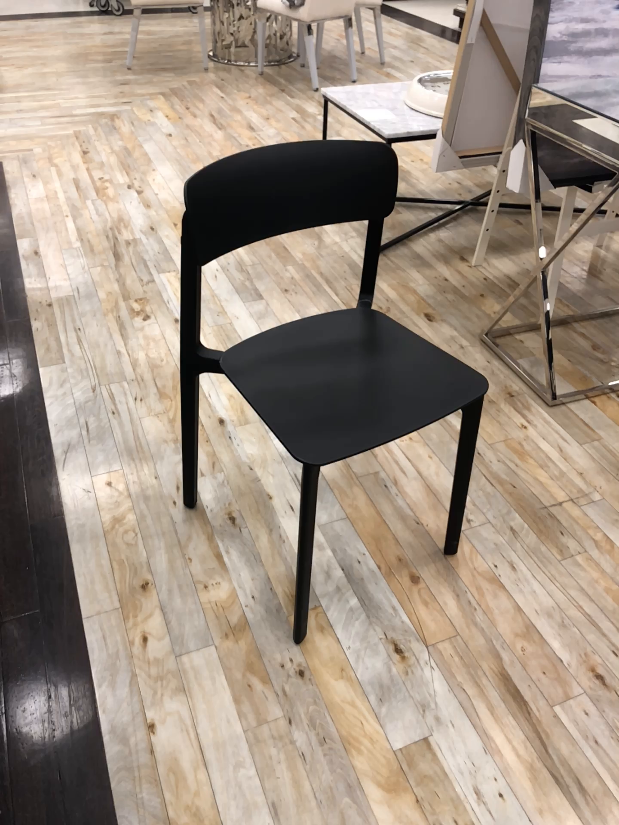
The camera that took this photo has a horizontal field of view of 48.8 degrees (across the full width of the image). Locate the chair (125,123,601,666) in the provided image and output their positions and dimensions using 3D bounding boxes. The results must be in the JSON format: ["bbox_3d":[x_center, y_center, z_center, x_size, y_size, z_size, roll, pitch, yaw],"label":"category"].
[{"bbox_3d":[0.051,-0.059,1.261,0.501,0.707,0.542,-22,44,-27],"label":"chair"}]
